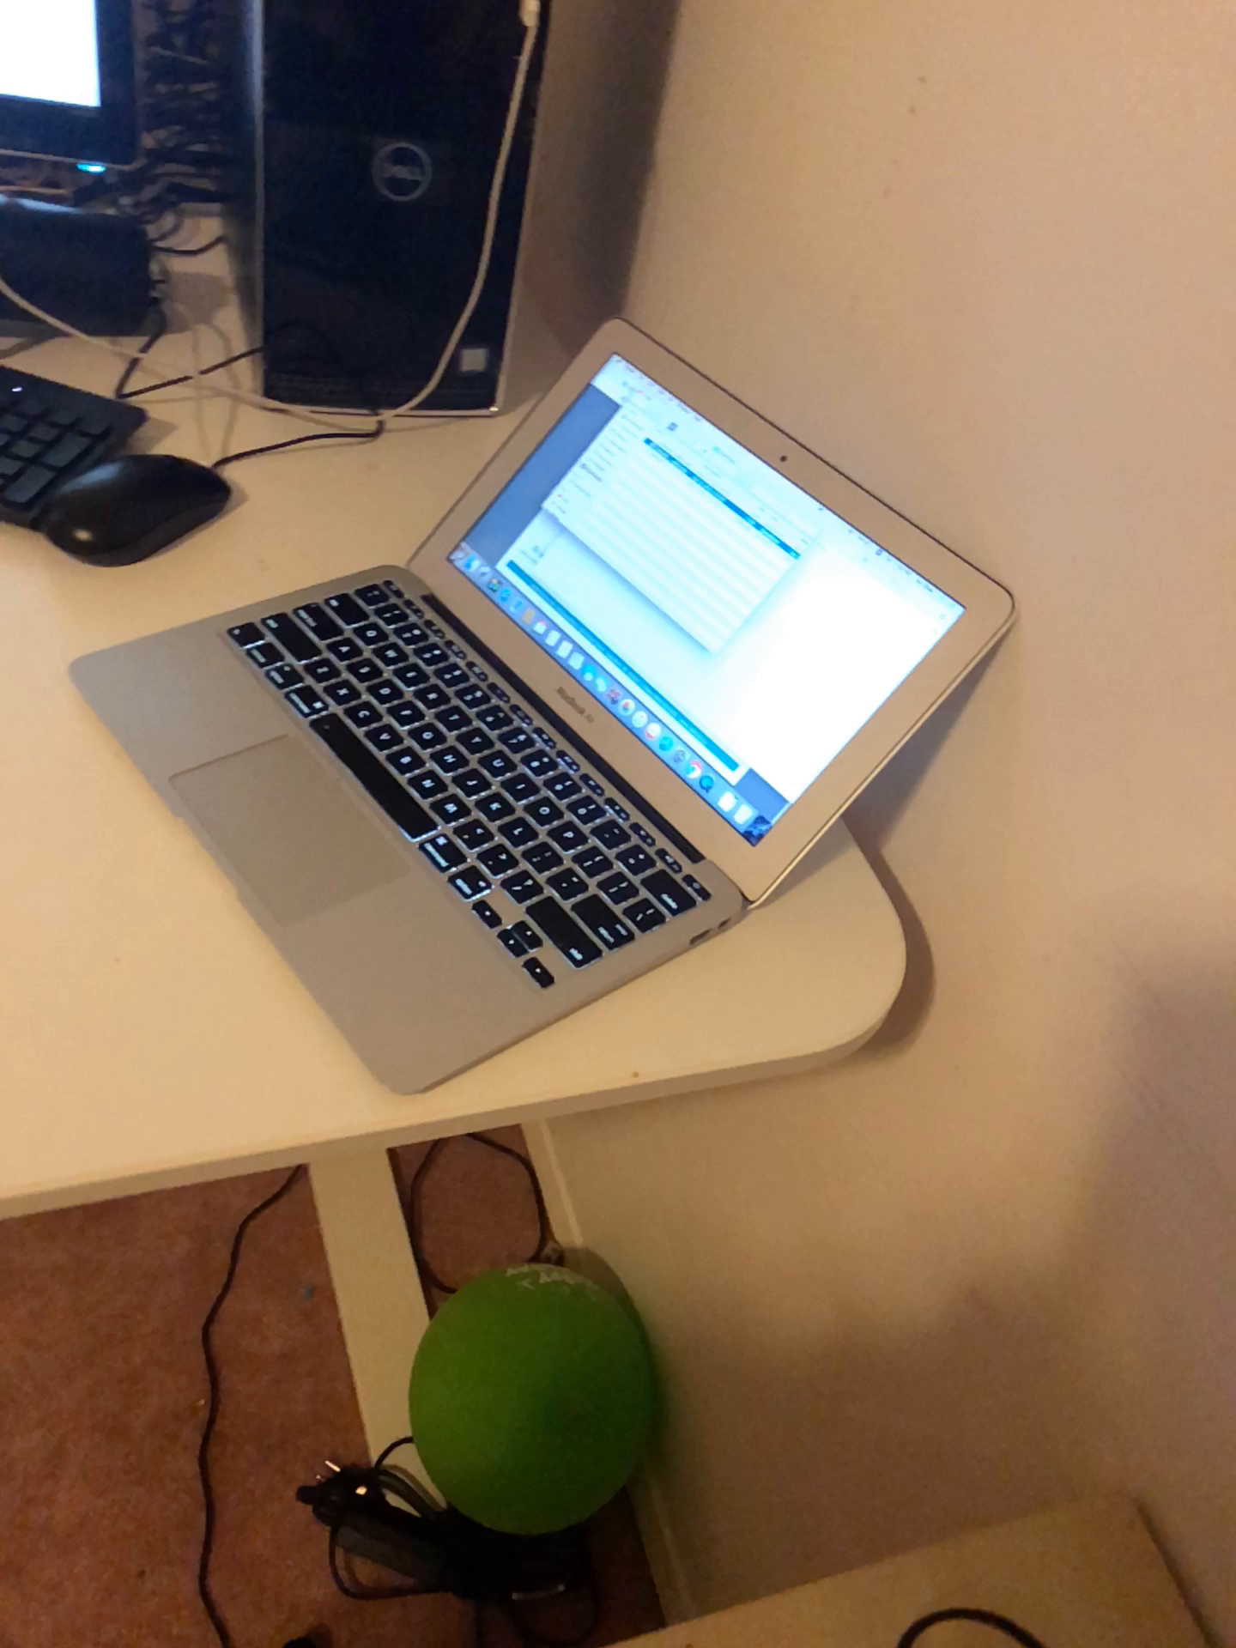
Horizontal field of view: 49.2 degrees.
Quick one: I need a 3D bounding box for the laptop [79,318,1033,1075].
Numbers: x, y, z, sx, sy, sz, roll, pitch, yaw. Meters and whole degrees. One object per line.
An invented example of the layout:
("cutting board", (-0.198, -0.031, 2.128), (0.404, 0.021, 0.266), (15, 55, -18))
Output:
("laptop", (-0.036, -0.090, 0.622), (0.306, 0.126, 0.281), (-25, 52, -31))
